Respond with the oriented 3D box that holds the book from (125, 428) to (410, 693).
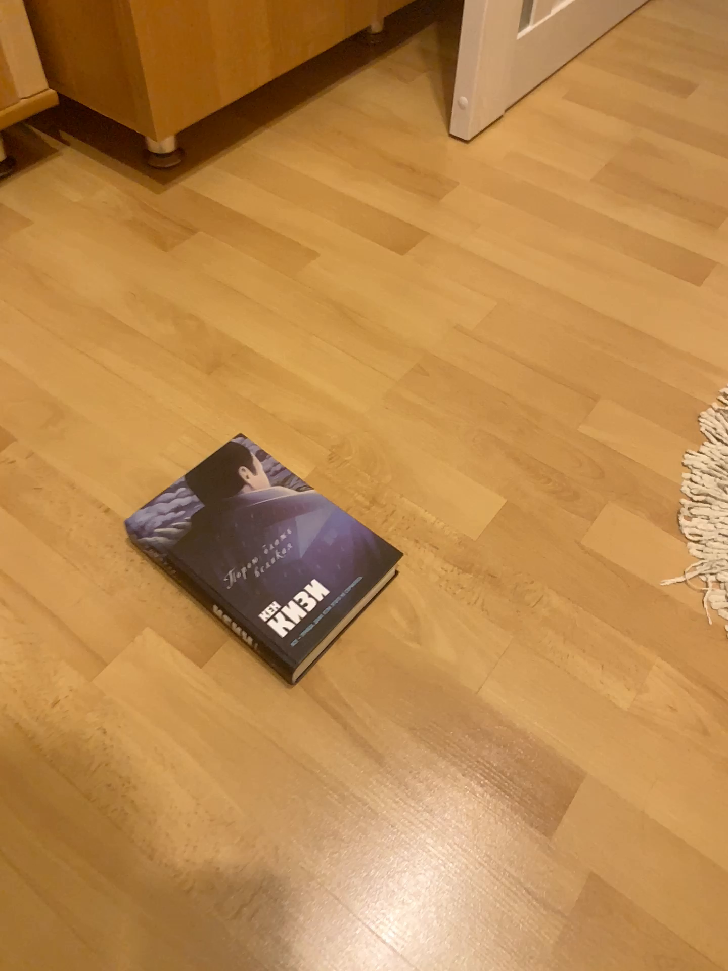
[{"bbox_3d":[-0.092,0.061,0.707,0.224,0.050,0.151,36,62,23],"label":"book"}]
